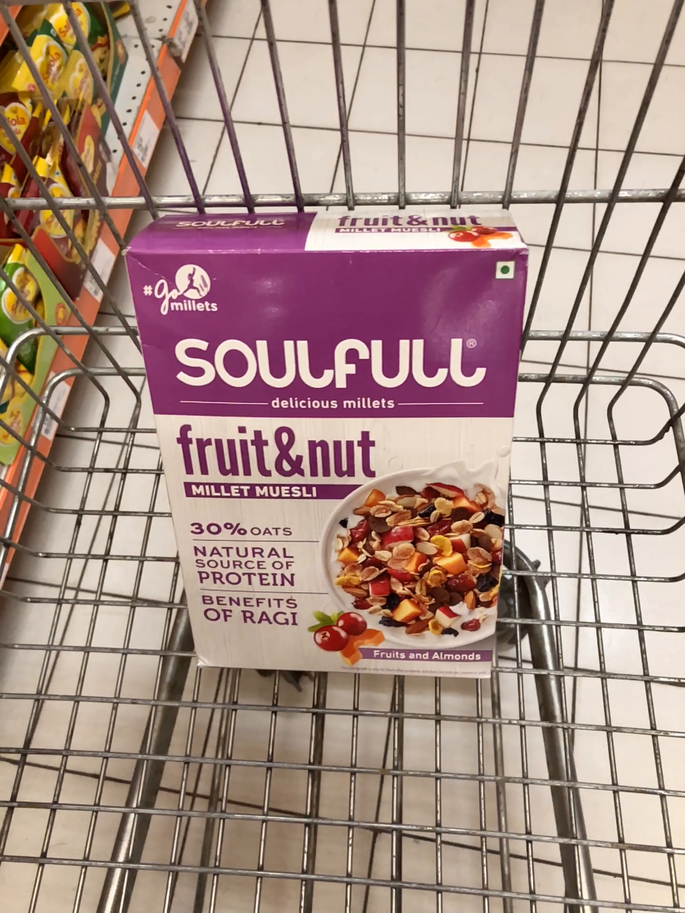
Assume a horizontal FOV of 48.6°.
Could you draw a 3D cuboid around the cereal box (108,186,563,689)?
[{"bbox_3d":[0.001,0.000,0.373,0.170,0.239,0.070,1,31,4],"label":"cereal box"}]
